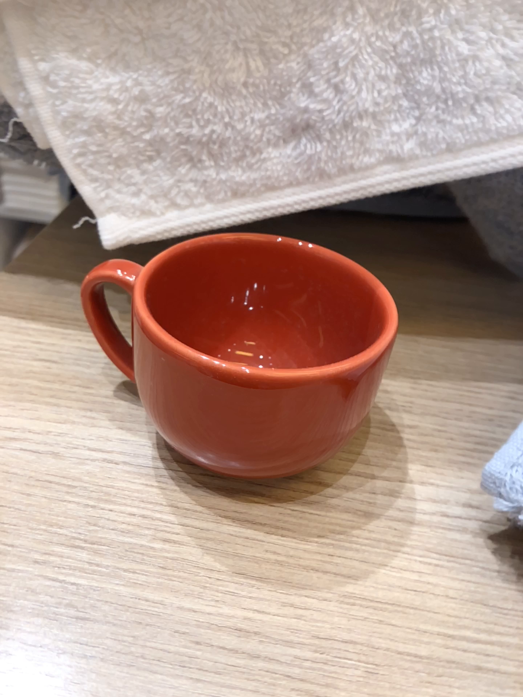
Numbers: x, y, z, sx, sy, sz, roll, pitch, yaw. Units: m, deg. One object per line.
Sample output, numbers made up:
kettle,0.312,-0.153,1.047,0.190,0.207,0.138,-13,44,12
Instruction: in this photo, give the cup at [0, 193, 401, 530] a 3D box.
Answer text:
cup,-0.013,-0.003,0.190,0.100,0.050,0.081,13,37,7
